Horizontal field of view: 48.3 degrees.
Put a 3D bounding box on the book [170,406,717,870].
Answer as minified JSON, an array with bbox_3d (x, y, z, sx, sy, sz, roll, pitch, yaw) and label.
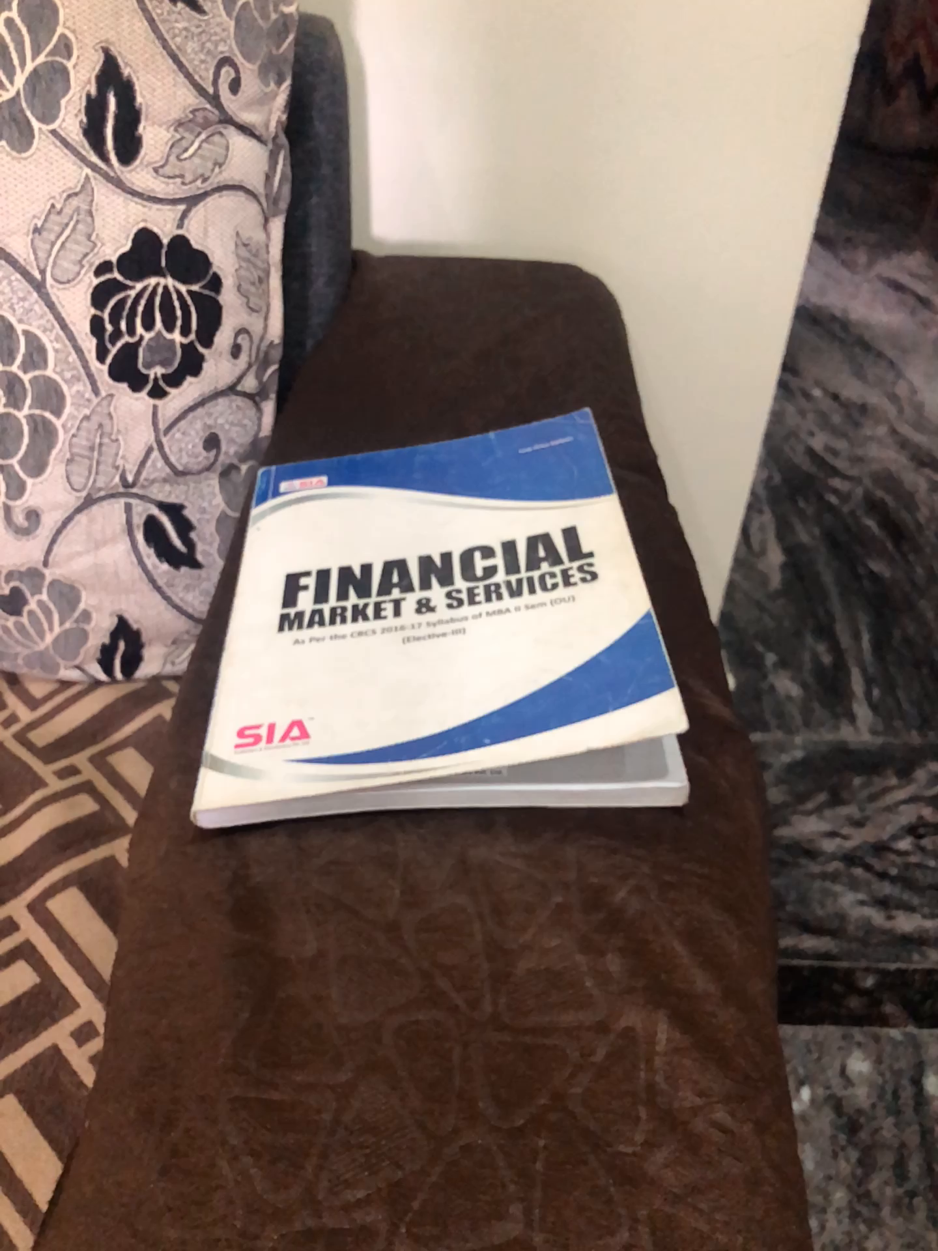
[{"bbox_3d":[-0.017,-0.015,0.543,0.220,0.040,0.291,-7,38,2],"label":"book"}]
